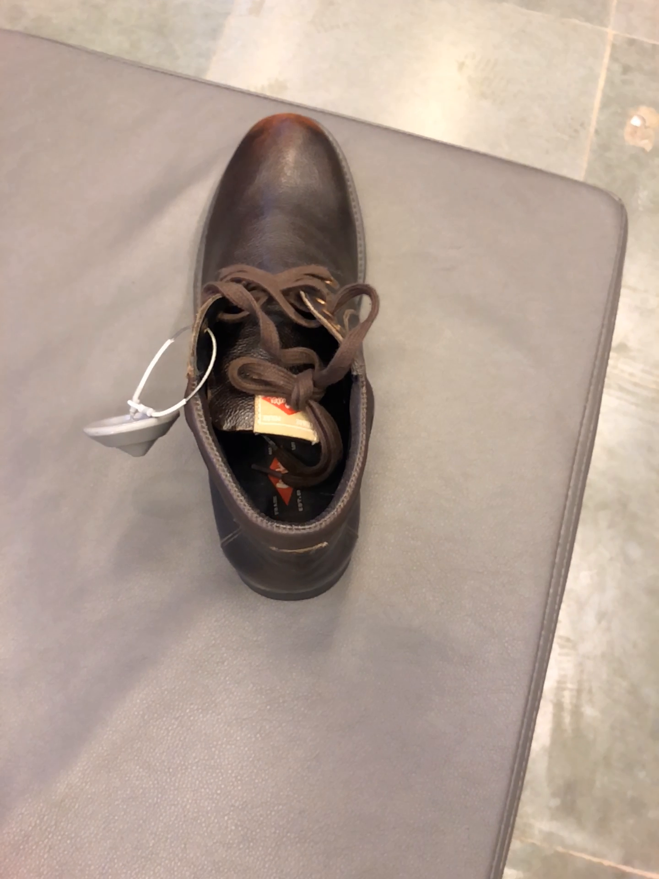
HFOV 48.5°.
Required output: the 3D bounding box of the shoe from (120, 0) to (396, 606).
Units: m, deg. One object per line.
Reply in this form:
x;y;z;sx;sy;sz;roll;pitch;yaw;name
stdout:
-0.031;-0.066;0.415;0.108;0.178;0.299;0;73;-1;shoe
